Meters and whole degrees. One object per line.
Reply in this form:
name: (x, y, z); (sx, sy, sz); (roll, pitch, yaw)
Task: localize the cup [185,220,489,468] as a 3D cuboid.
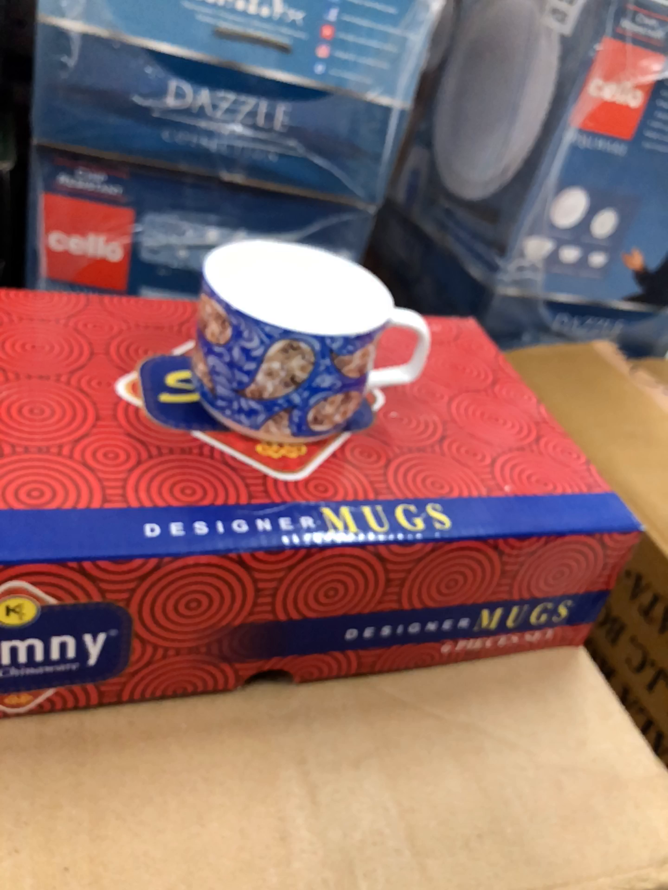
cup: (-0.005, -0.040, 0.303); (0.100, 0.060, 0.070); (6, 34, -16)
